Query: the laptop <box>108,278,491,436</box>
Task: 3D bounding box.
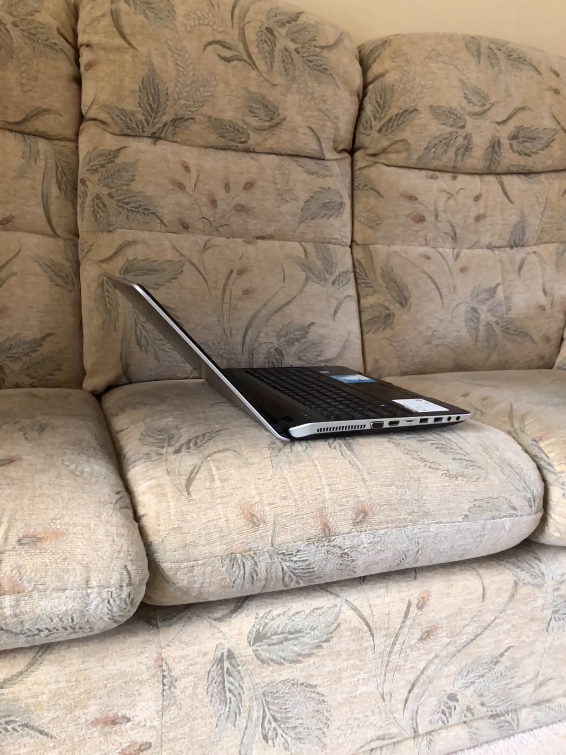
[{"bbox_3d":[-0.015,-0.054,0.863,0.410,0.151,0.397,-2,11,-21],"label":"laptop"}]
